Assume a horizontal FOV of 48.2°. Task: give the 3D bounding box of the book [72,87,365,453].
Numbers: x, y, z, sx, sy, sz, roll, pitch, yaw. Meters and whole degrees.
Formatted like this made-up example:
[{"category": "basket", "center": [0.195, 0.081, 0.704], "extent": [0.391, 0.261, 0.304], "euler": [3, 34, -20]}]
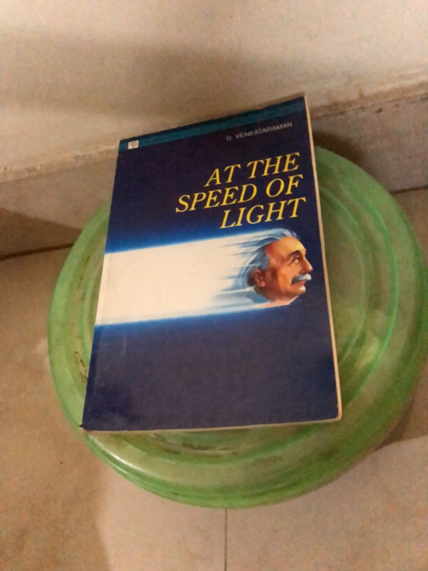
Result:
[{"category": "book", "center": [-0.001, -0.021, 0.300], "extent": [0.150, 0.020, 0.230], "euler": [-8, 60, 14]}]
